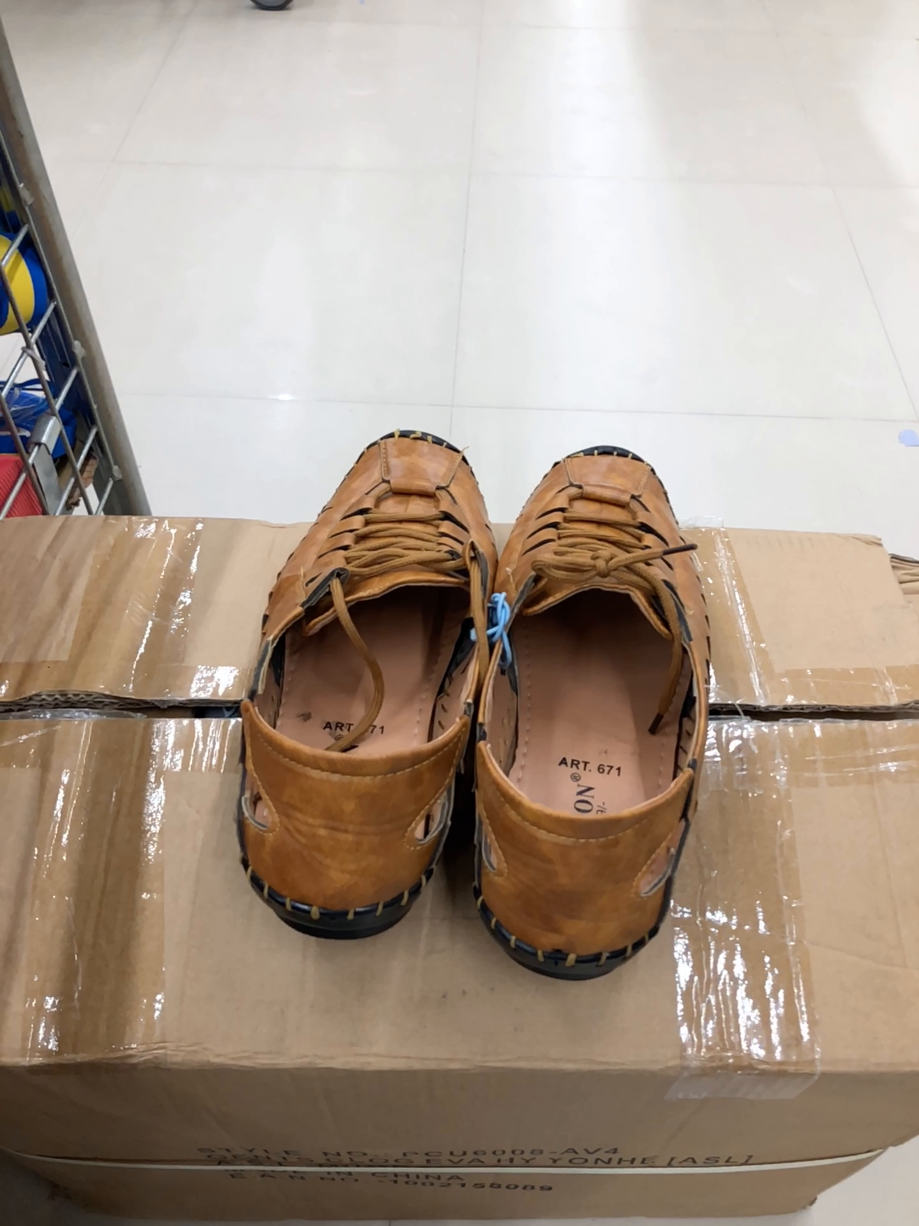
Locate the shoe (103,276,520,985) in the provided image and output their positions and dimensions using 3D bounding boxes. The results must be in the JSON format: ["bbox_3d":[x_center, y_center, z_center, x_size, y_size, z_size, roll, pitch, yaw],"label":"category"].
[{"bbox_3d":[-0.040,-0.009,0.443,0.110,0.119,0.292,4,51,3],"label":"shoe"}]

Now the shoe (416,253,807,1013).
[{"bbox_3d":[0.062,-0.011,0.427,0.110,0.119,0.302,6,51,5],"label":"shoe"}]
